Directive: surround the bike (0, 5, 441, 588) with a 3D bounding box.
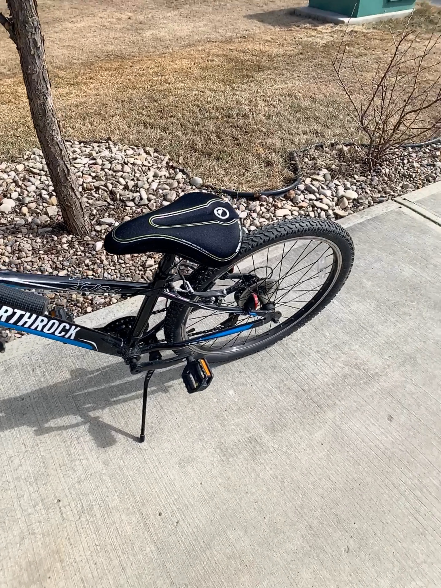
[{"bbox_3d":[-0.243,0.139,0.914,1.392,0.885,0.516,-26,47,-19],"label":"bike"}]
